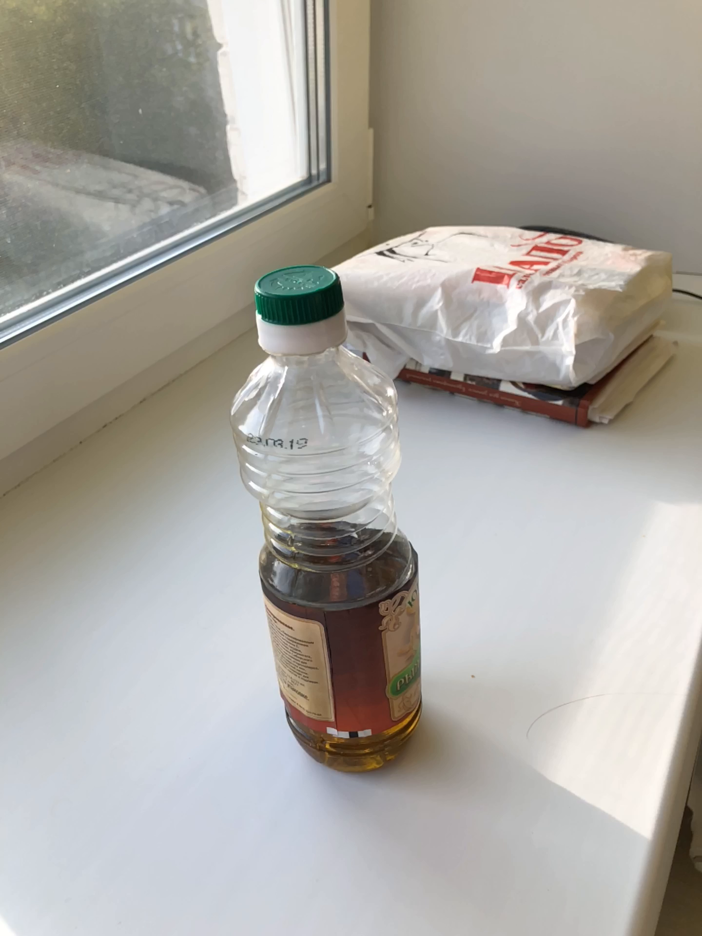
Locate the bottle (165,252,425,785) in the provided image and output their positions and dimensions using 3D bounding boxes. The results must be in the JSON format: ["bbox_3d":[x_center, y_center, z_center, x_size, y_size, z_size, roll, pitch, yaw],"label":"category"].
[{"bbox_3d":[-0.010,0.031,0.314,0.067,0.218,0.061,1,33,11],"label":"bottle"}]
